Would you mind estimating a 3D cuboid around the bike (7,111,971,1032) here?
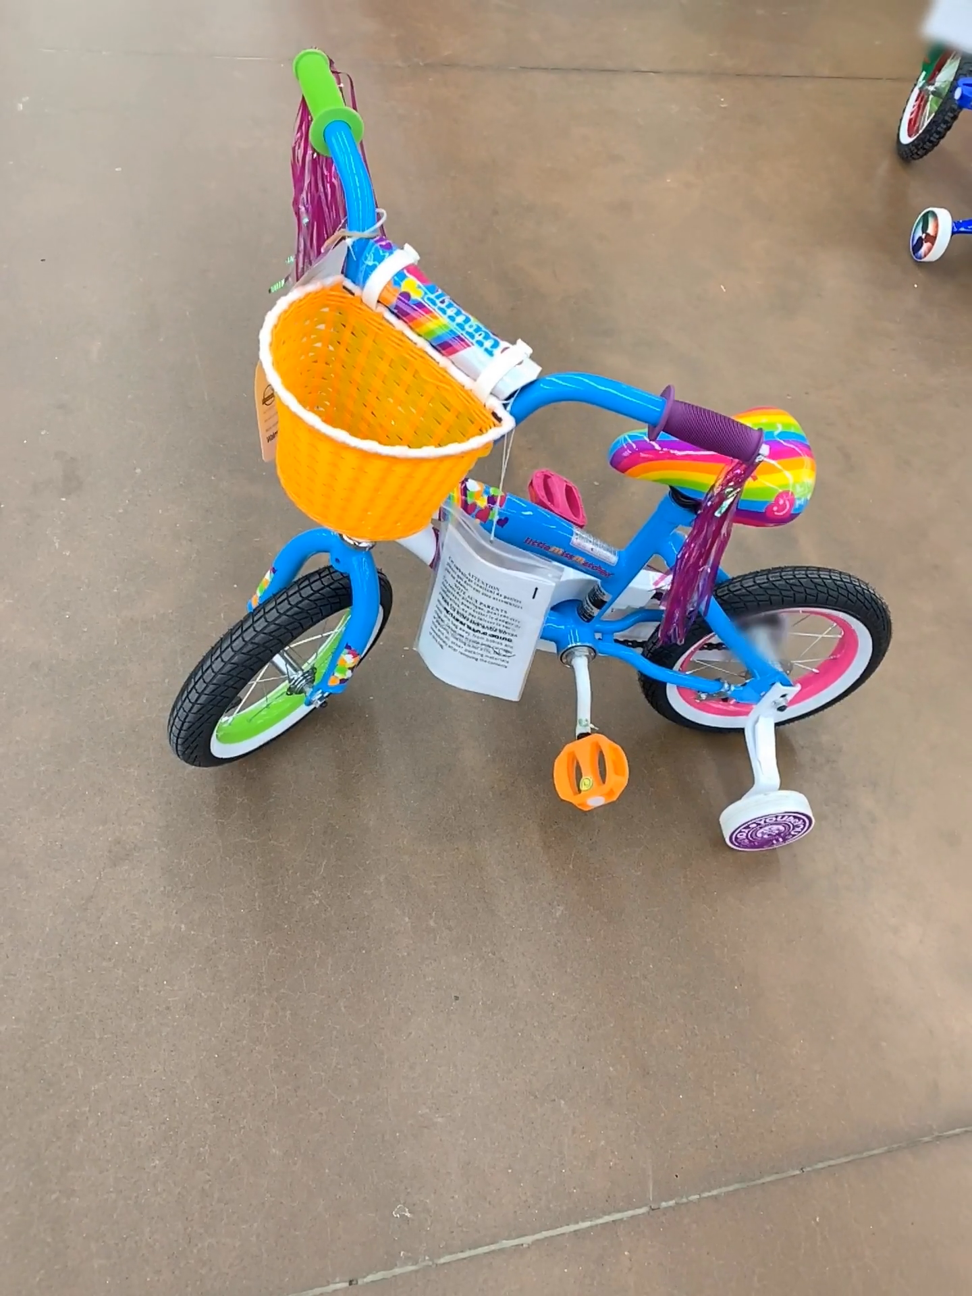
[{"bbox_3d":[0.103,-0.067,0.996,0.834,0.667,0.523,-5,53,-10],"label":"bike"}]
